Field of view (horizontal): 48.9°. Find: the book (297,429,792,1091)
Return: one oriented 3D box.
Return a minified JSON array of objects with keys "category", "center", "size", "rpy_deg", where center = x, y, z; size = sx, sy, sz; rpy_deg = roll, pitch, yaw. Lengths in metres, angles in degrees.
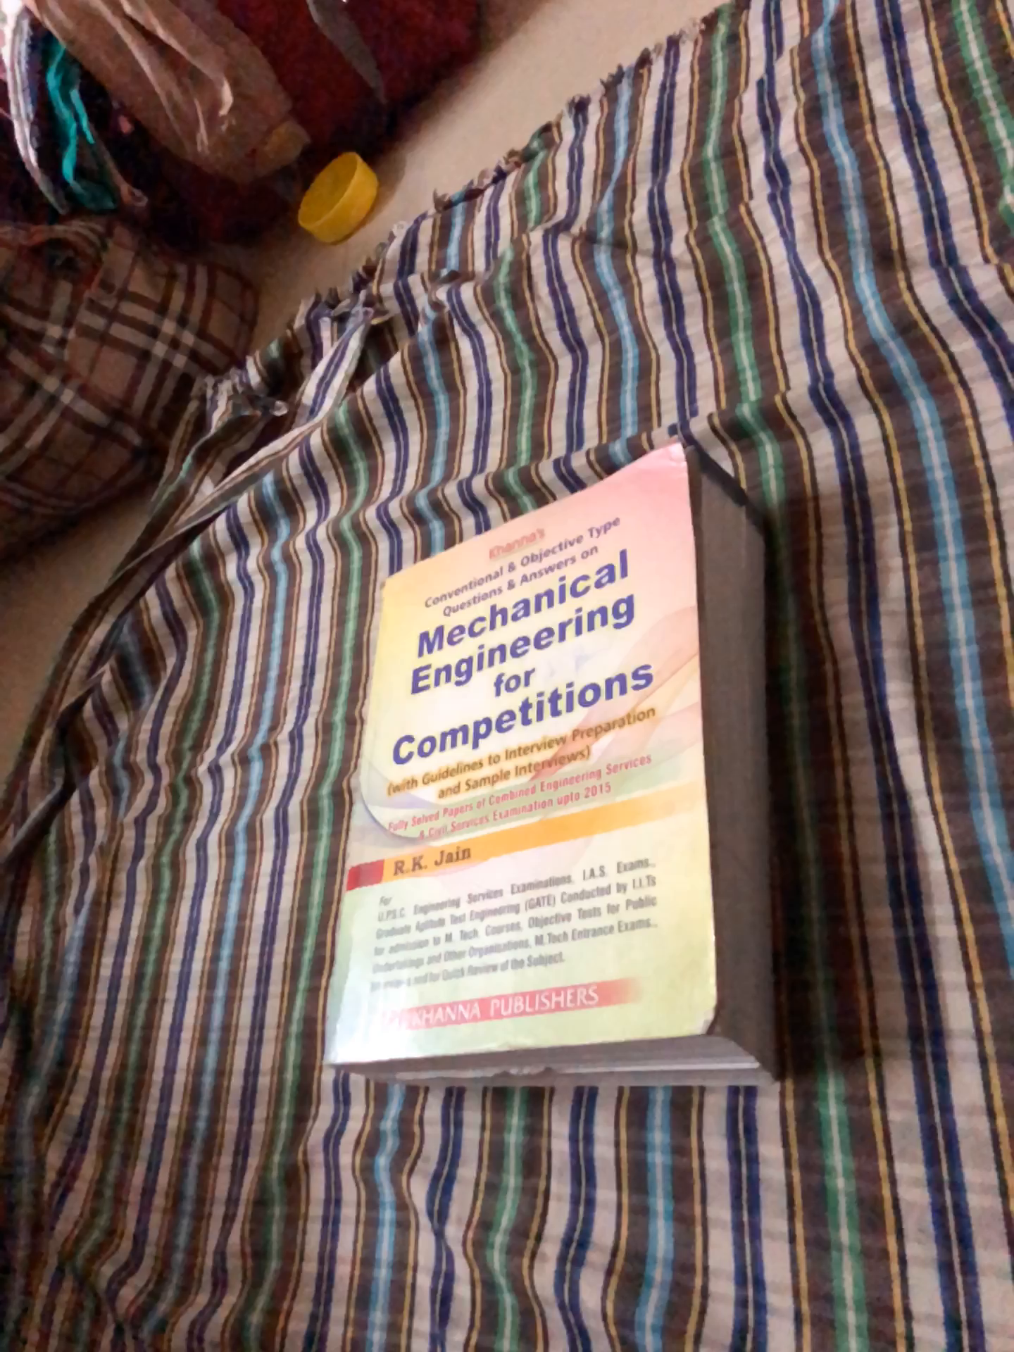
[{"category":"book","center":[0.019,0.048,0.546],"size":[0.211,0.077,0.280],"rpy_deg":[-17,55,36]}]
